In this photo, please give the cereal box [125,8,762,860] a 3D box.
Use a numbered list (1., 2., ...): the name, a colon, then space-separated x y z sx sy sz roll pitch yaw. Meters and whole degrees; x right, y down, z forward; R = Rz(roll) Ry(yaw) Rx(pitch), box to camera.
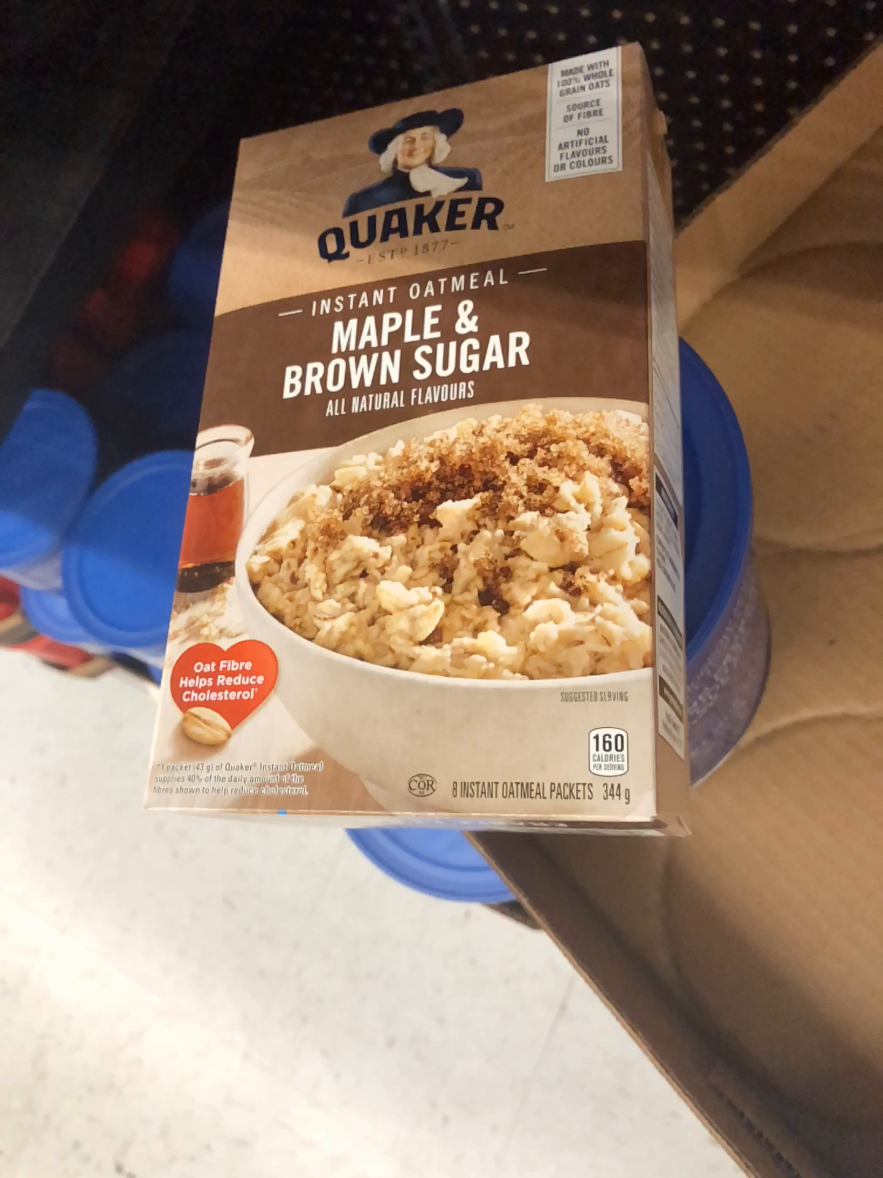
1. cereal box: 0.007 -0.033 0.271 0.140 0.070 0.200 -4 72 20
